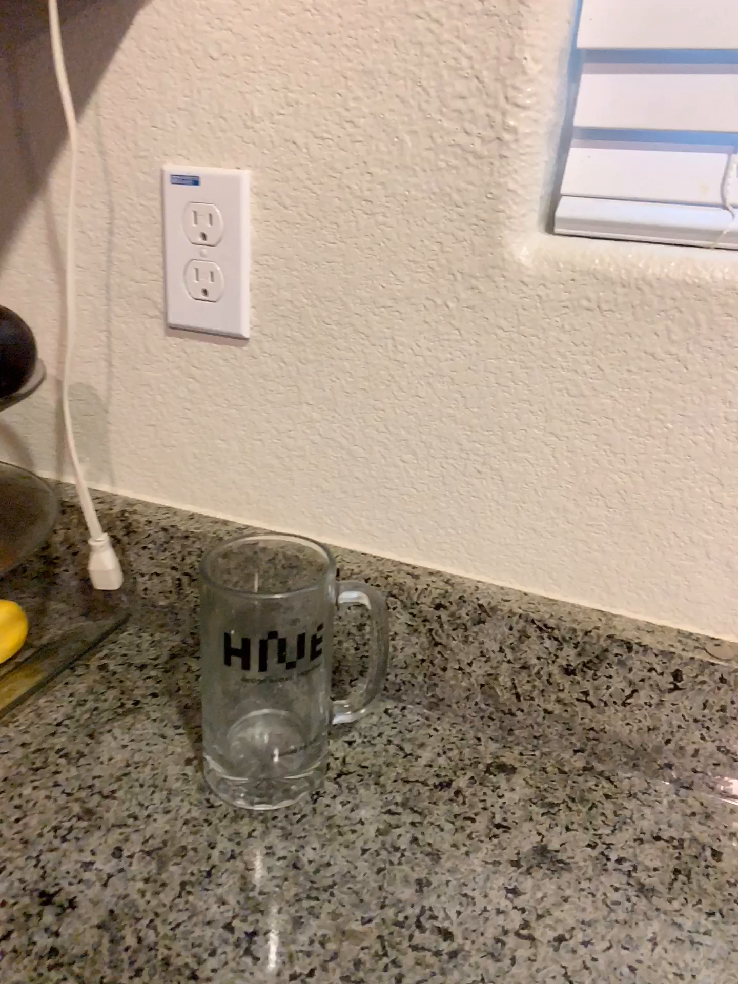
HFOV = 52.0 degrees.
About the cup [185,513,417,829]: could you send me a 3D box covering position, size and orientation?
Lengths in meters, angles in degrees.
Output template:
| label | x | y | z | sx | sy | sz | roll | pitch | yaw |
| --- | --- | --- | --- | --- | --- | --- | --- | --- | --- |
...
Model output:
| label | x | y | z | sx | sy | sz | roll | pitch | yaw |
| --- | --- | --- | --- | --- | --- | --- | --- | --- | --- |
| cup | -0.047 | 0.107 | 0.475 | 0.120 | 0.159 | 0.081 | -4 | 23 | -19 |
